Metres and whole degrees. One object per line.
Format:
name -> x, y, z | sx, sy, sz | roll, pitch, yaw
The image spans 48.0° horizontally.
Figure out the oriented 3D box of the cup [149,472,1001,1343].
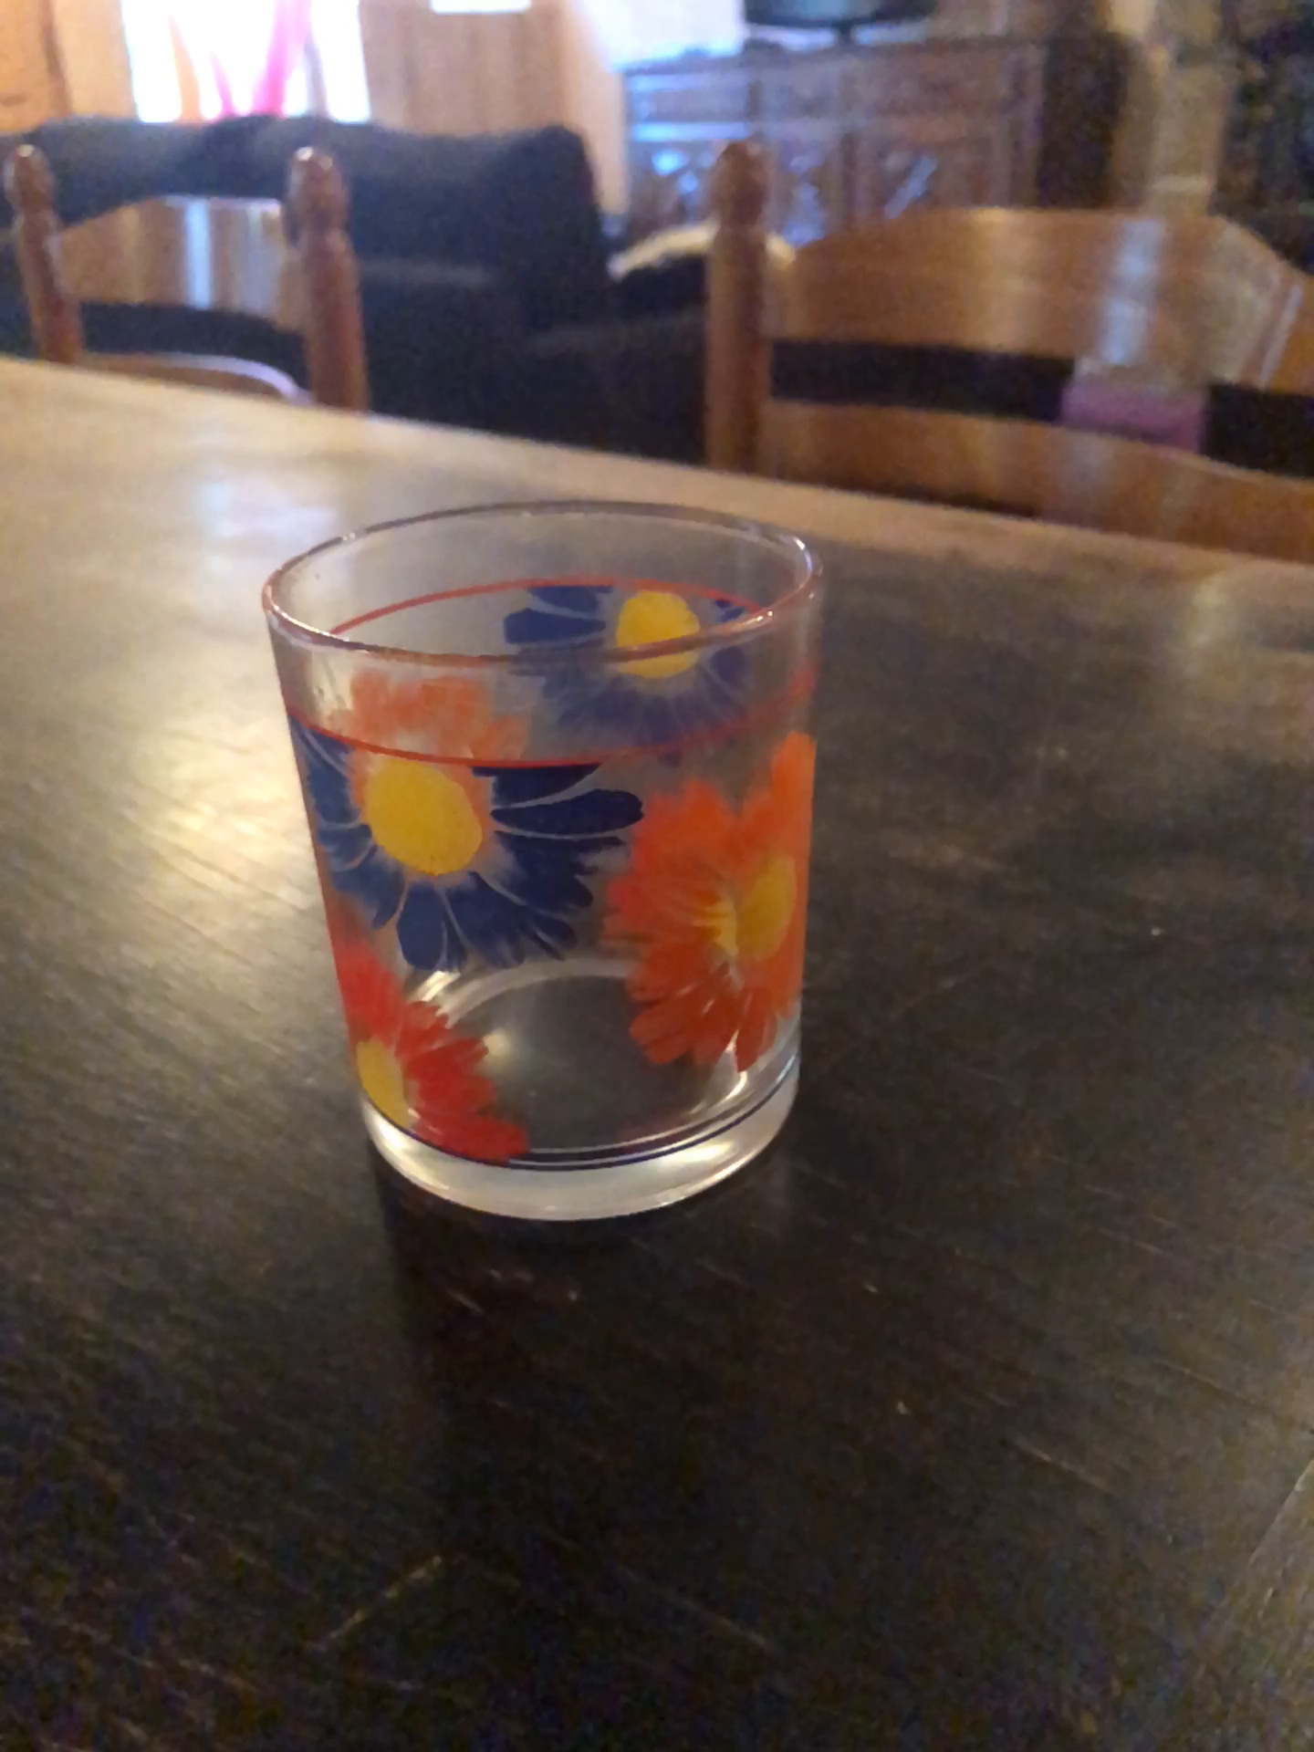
cup -> -0.008, -0.005, 0.206 | 0.075, 0.079, 0.079 | -2, 27, 1
